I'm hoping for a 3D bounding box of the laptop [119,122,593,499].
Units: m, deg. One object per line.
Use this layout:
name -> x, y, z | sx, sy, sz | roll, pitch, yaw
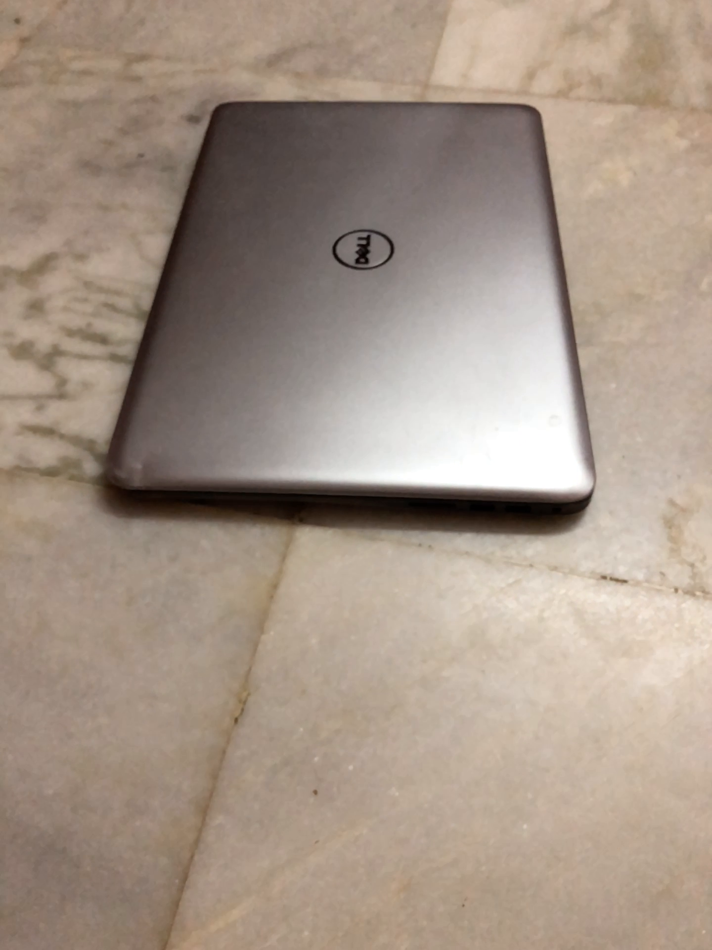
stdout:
laptop -> 0.007, -0.131, 0.510 | 0.244, 0.002, 0.347 | 2, 54, 2
